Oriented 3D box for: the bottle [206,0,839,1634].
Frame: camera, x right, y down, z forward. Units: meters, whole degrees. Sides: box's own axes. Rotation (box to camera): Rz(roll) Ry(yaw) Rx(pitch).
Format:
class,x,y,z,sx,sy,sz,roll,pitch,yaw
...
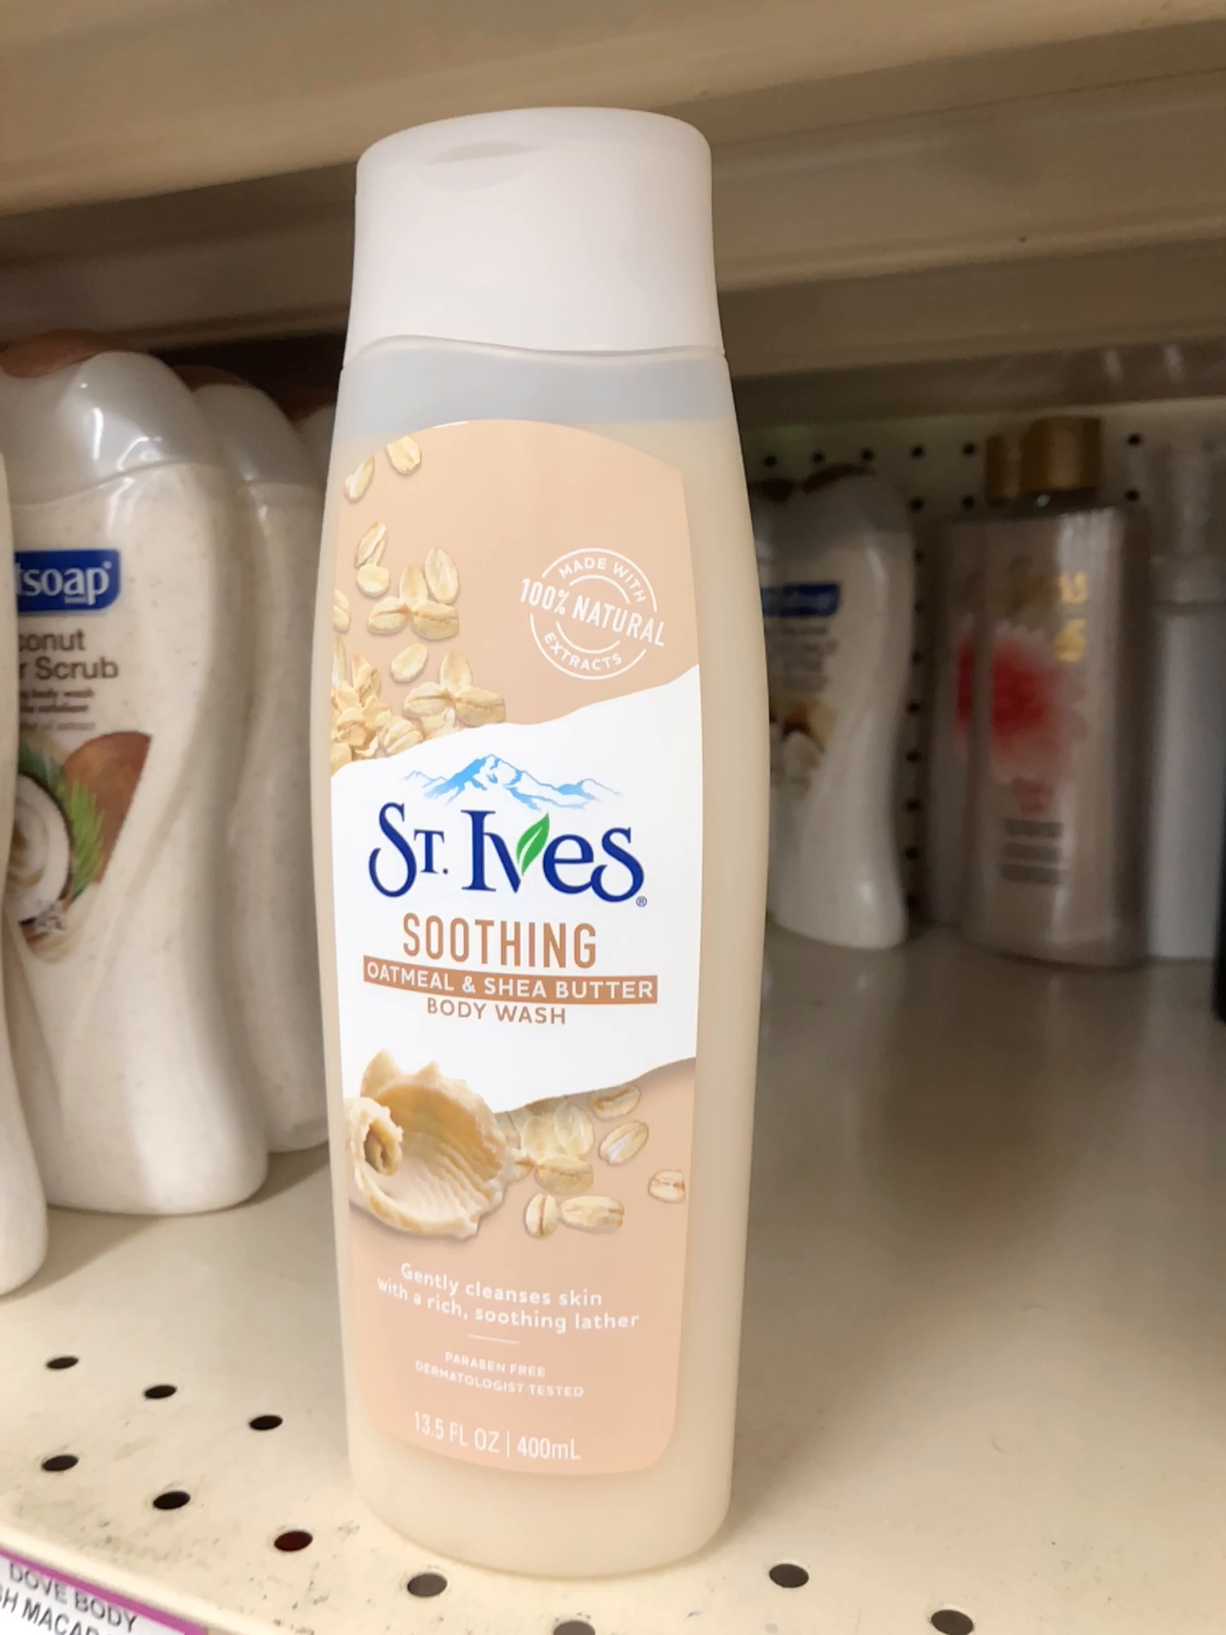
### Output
class,x,y,z,sx,sy,sz,roll,pitch,yaw
bottle,-0.009,0.002,0.221,0.080,0.230,0.050,2,10,18
